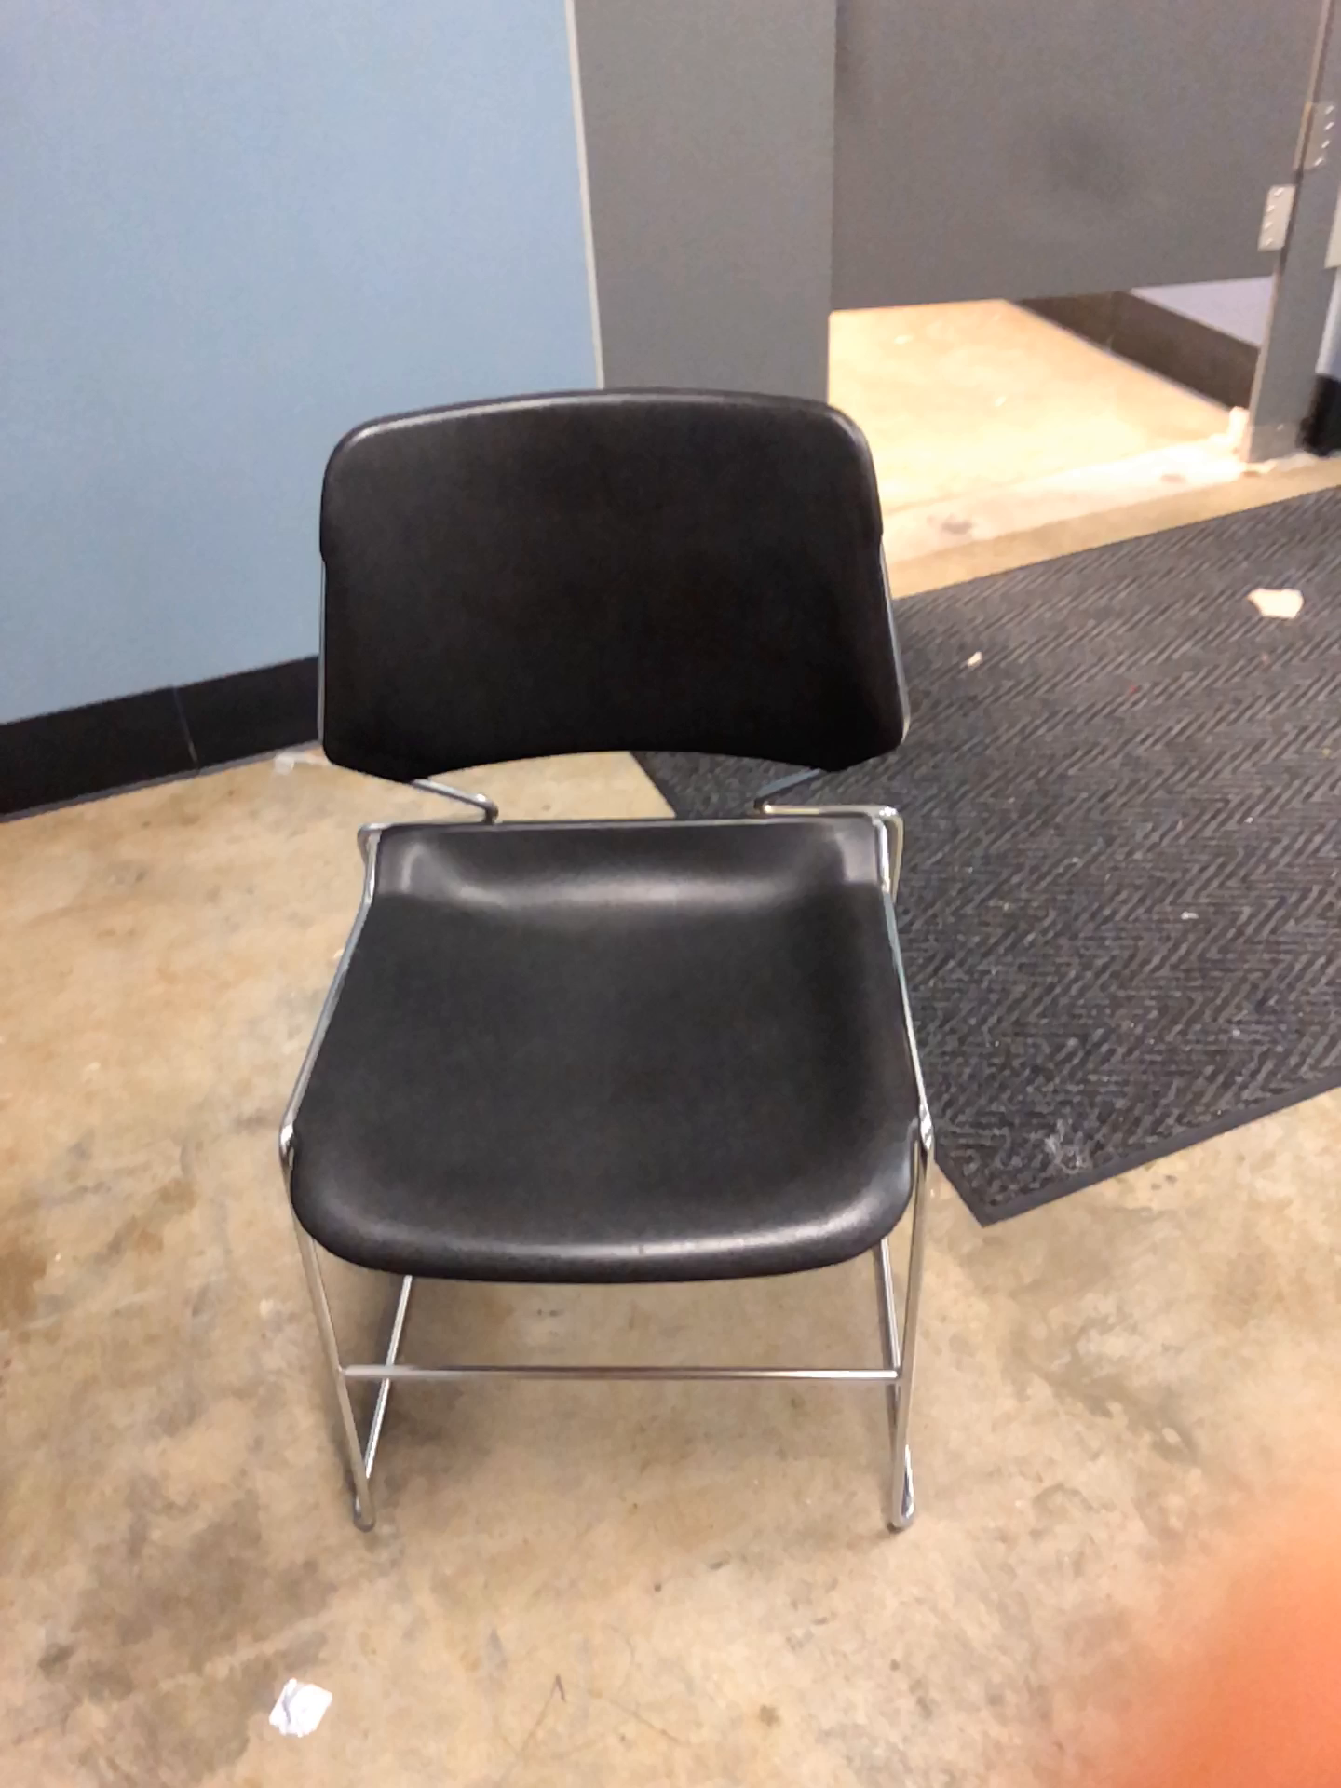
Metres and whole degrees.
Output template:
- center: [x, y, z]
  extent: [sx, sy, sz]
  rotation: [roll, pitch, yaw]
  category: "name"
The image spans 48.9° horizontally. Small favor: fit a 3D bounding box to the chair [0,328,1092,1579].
- center: [-0.047, 0.060, 1.127]
  extent: [0.524, 0.765, 0.553]
  rotation: [-2, 38, 3]
  category: "chair"
